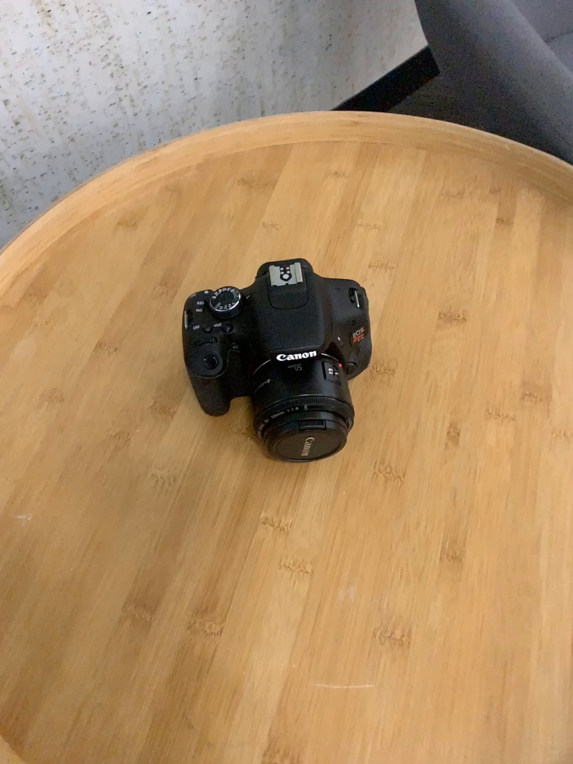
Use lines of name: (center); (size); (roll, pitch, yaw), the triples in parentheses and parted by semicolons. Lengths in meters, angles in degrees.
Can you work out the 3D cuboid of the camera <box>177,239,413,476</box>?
camera: (0.002, -0.015, 0.401); (0.134, 0.090, 0.119); (-6, 58, 0)
